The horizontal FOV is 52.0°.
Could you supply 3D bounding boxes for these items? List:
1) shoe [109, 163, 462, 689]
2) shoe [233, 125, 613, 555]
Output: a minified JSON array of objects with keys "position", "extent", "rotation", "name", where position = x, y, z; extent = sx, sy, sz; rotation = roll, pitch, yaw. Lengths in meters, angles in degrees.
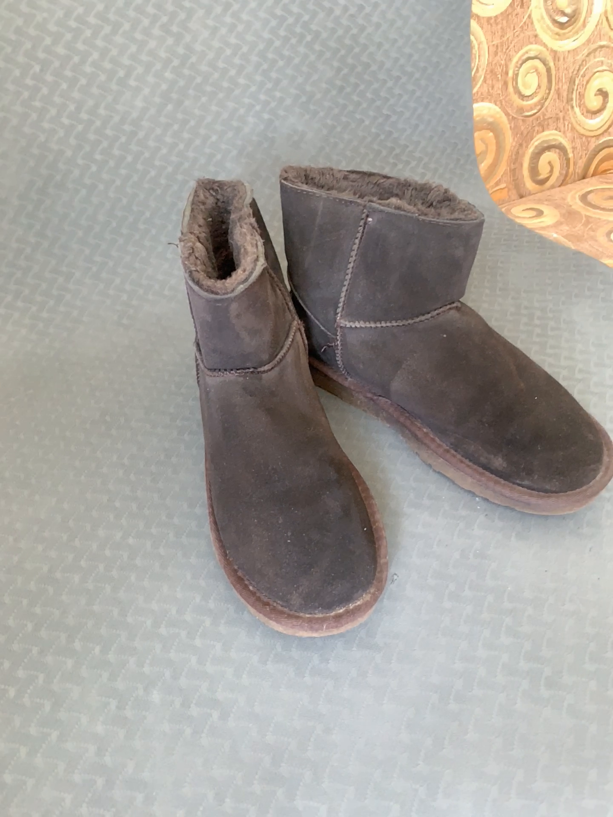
[{"position":[-0.029,-0.006,0.357],"extent":[0.100,0.139,0.254],"rotation":[-15,50,-12],"name":"shoe"},{"position":[0.084,-0.053,0.394],"extent":[0.254,0.139,0.100],"rotation":[35,58,27],"name":"shoe"}]
